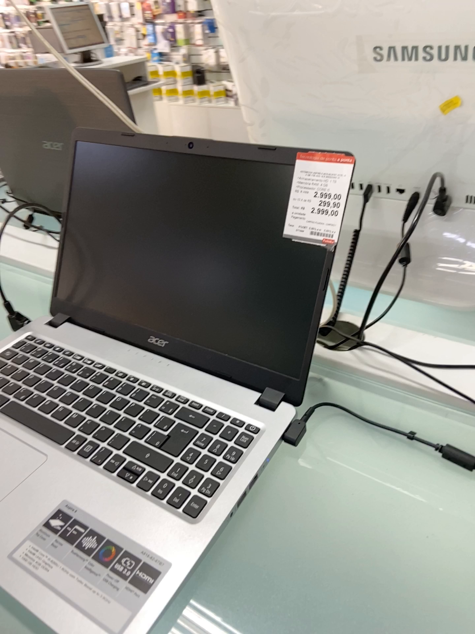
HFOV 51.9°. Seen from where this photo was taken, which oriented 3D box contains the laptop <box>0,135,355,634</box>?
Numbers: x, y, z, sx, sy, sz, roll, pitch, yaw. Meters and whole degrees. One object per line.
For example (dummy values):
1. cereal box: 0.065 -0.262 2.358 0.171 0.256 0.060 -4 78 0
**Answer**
1. laptop: -0.139 -0.006 0.447 0.365 0.204 0.365 15 39 29
